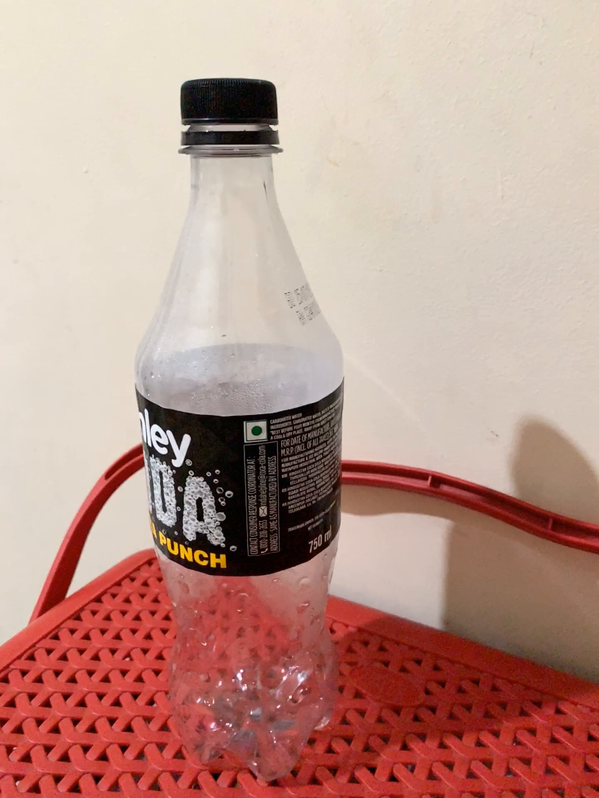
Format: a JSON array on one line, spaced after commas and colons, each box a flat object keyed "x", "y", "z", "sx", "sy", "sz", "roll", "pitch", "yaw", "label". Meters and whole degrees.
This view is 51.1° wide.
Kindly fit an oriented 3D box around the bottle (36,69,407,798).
[{"x": -0.021, "y": 0.020, "z": 0.213, "sx": 0.070, "sy": 0.228, "sz": 0.080, "roll": -16, "pitch": 28, "yaw": -30, "label": "bottle"}]
